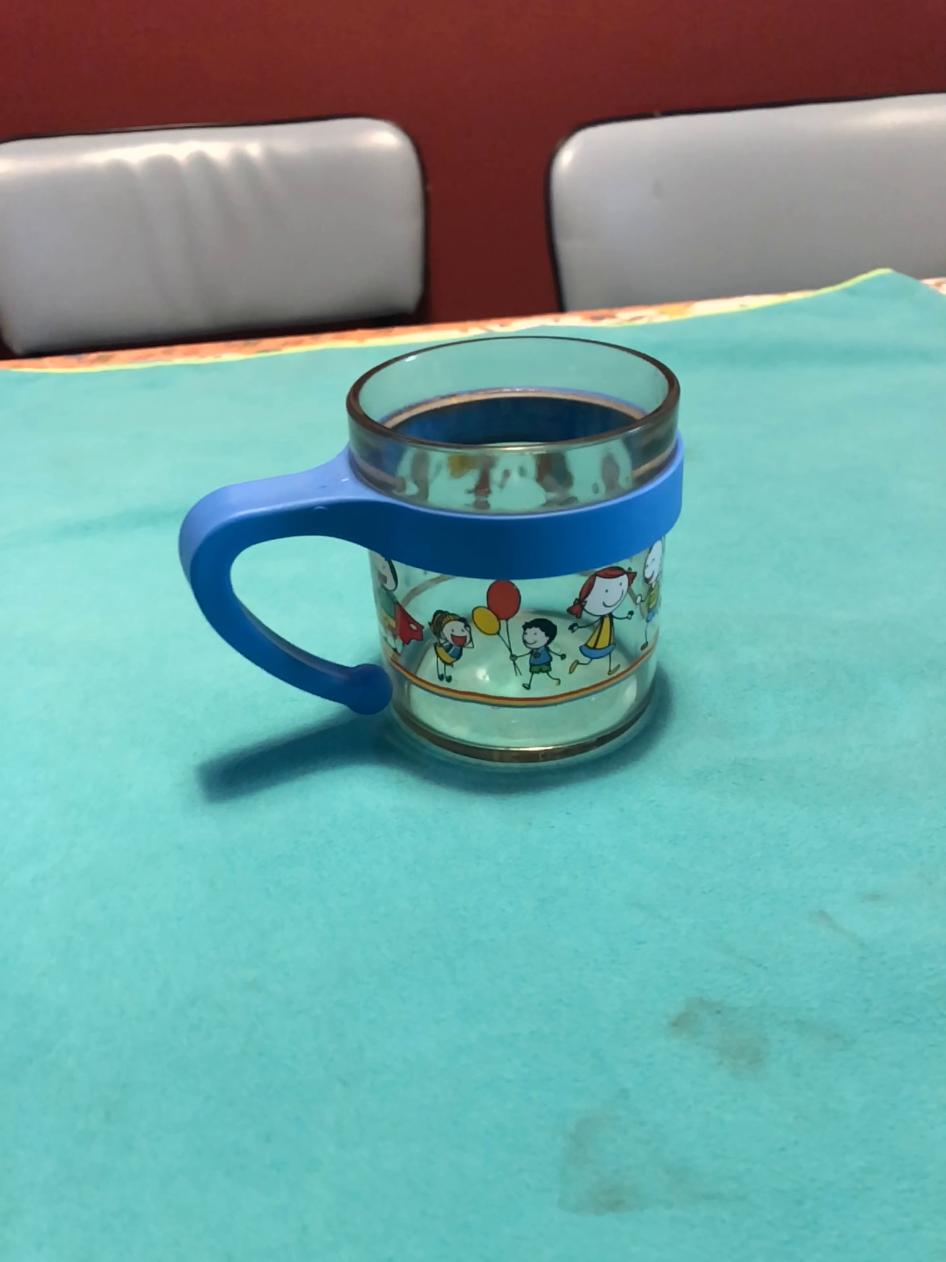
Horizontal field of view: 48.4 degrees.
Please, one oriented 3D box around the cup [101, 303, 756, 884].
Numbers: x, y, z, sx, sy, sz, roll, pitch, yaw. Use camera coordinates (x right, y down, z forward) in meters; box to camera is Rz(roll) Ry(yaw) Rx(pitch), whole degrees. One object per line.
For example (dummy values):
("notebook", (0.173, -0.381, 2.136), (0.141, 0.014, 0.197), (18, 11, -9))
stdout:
("cup", (-0.013, -0.019, 0.269), (0.130, 0.089, 0.091), (-15, 33, -18))
